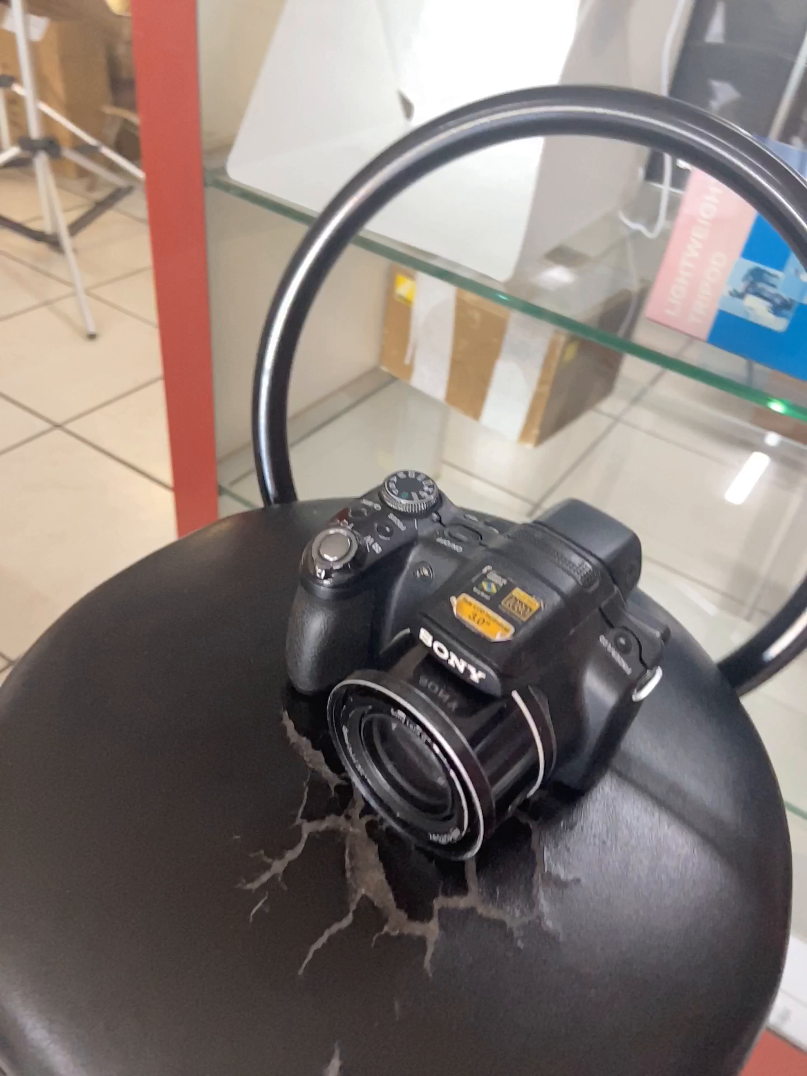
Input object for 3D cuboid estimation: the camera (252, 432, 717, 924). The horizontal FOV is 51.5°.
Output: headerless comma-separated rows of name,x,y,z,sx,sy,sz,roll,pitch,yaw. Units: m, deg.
camera,0.022,0.037,0.276,0.100,0.079,0.100,34,45,28
